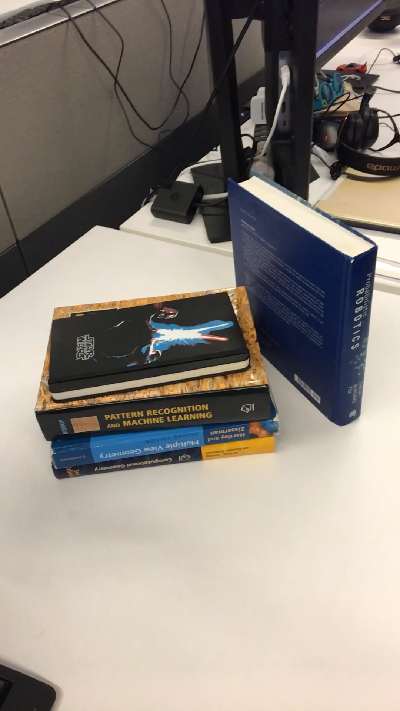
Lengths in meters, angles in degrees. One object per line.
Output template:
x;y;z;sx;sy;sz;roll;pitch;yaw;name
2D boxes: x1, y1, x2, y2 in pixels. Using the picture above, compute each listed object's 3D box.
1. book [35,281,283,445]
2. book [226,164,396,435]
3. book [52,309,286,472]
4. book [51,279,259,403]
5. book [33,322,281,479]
-0.045;0.001;0.658;0.240;0.050;0.180;-6;41;-1;book
0.110;-0.064;0.670;0.050;0.230;0.210;-23;44;-19;book
-0.042;0.031;0.685;0.240;0.030;0.190;-8;41;-3;book
-0.052;-0.021;0.622;0.200;0.020;0.130;-10;41;-5;book
-0.052;0.045;0.701;0.260;0.030;0.190;-7;41;-1;book
